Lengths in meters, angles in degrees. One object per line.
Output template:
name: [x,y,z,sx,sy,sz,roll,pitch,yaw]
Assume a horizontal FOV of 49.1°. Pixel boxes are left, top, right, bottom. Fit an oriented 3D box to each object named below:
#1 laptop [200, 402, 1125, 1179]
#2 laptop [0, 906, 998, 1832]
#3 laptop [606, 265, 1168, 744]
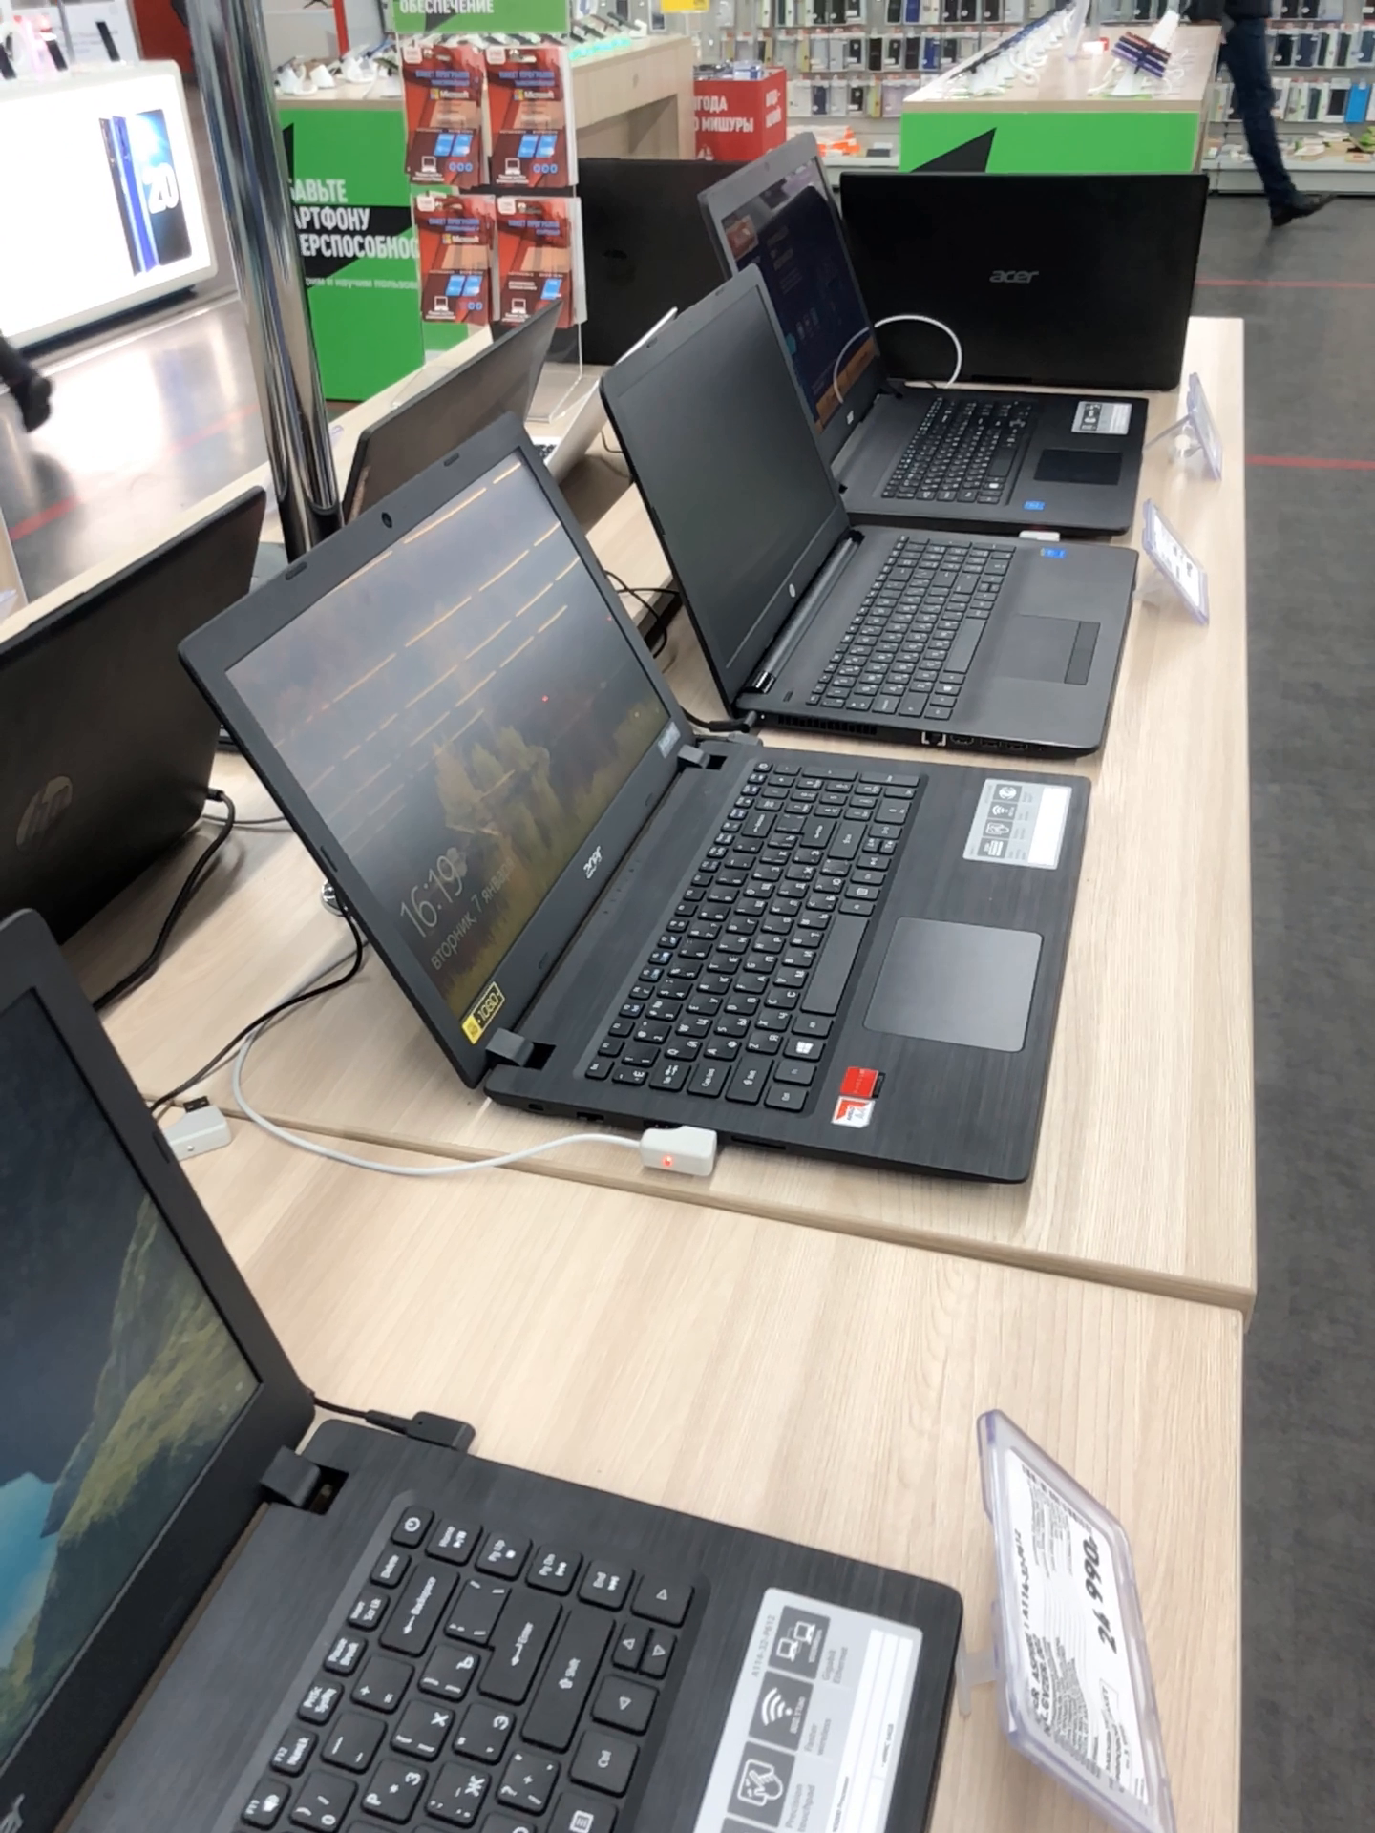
laptop: [0.022,-0.103,0.792,0.367,0.208,0.375,8,35,15]
laptop: [-0.107,0.192,0.351,0.300,0.214,0.307,9,35,15]
laptop: [0.162,-0.329,1.117,0.338,0.212,0.379,9,35,17]
